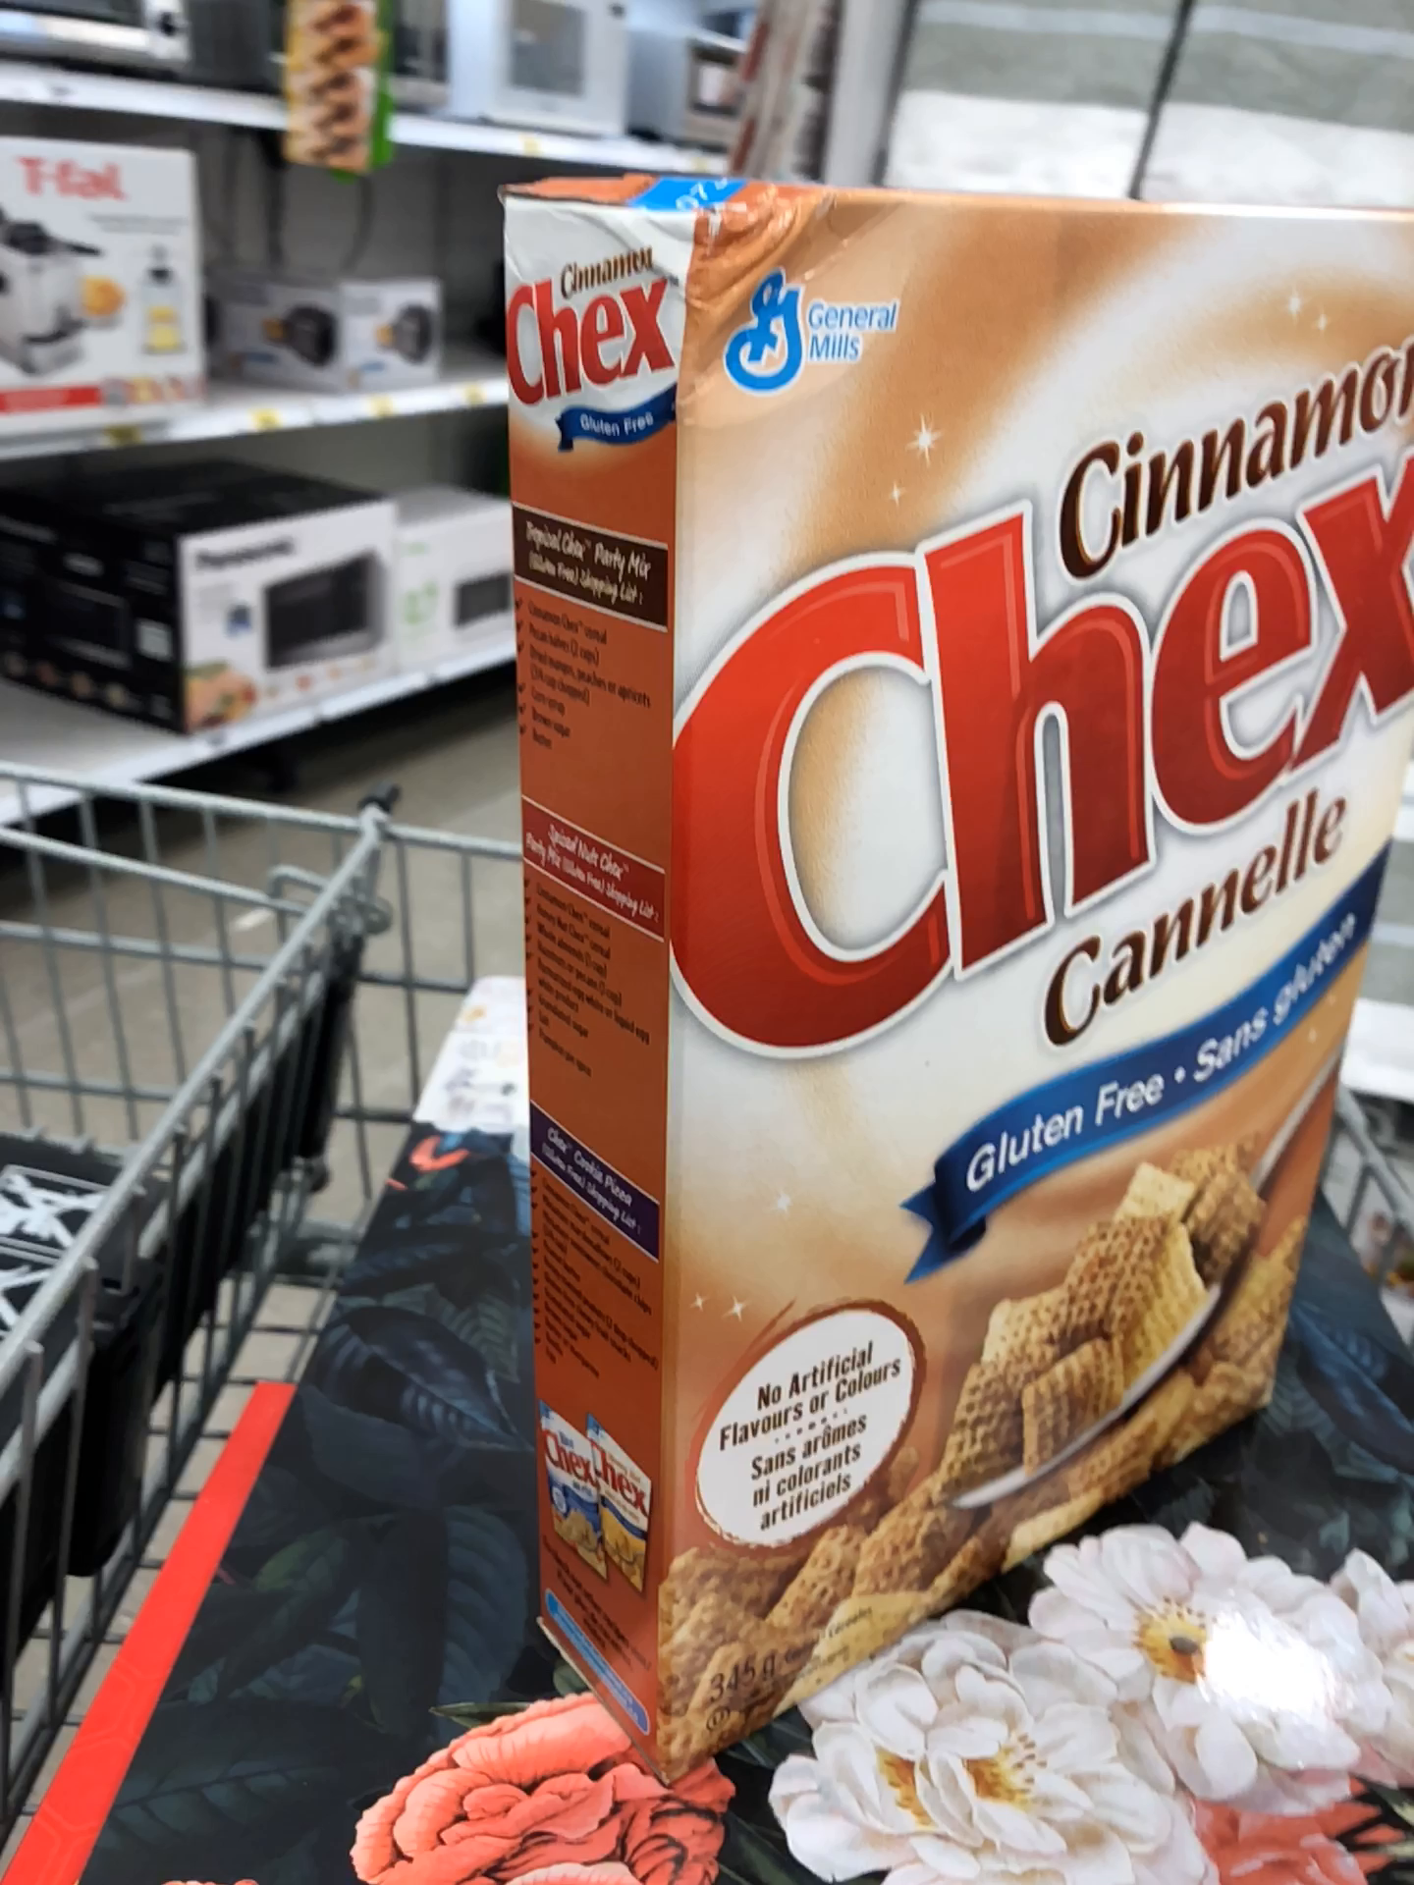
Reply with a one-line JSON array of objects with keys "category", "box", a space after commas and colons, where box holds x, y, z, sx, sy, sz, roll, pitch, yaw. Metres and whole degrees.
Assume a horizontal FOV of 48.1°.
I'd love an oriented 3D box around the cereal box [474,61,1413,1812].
[{"category": "cereal box", "box": [0.061, -0.006, 0.303, 0.200, 0.259, 0.060, -15, 26, -38]}]
